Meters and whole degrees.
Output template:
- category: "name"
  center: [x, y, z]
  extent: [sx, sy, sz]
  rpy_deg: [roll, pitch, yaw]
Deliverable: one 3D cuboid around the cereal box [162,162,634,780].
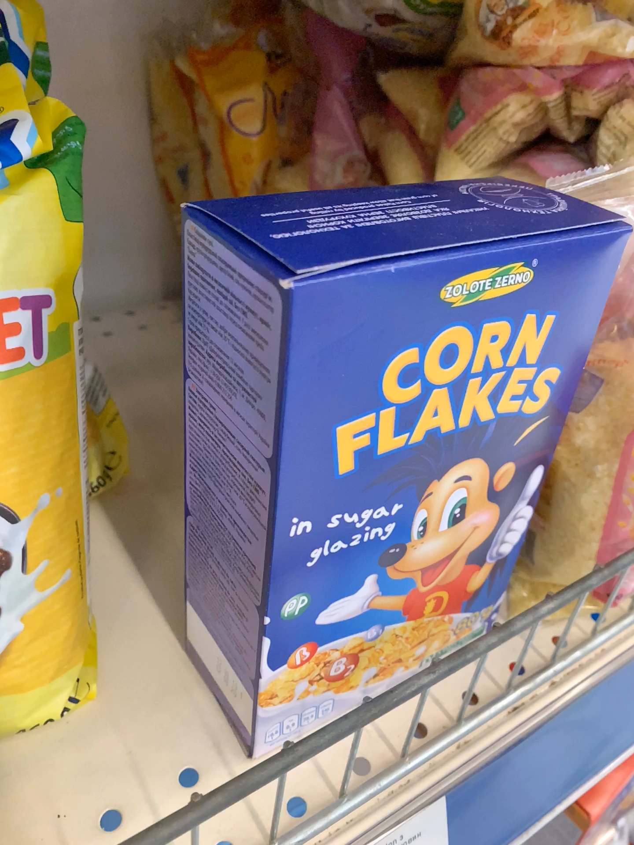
- category: "cereal box"
  center: [0.027, 0.013, 0.203]
  extent: [0.130, 0.159, 0.050]
  rpy_deg: [-16, 41, -29]
